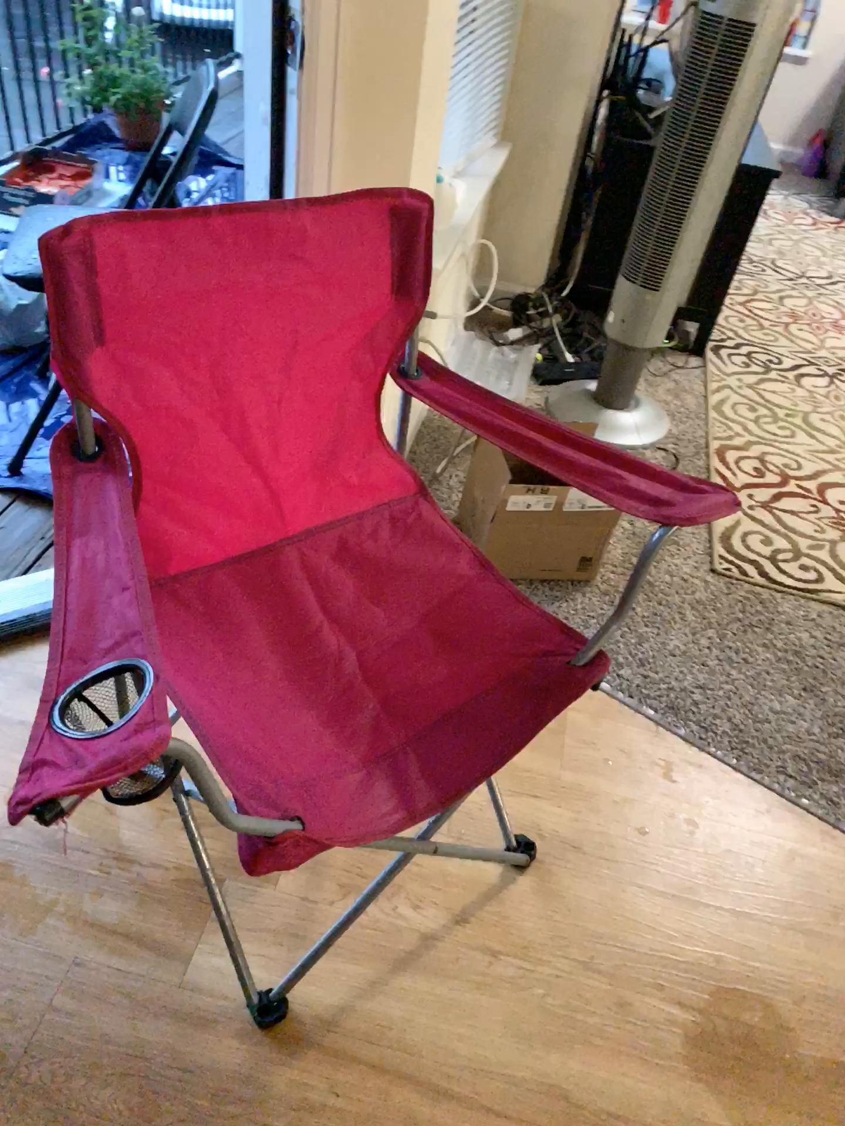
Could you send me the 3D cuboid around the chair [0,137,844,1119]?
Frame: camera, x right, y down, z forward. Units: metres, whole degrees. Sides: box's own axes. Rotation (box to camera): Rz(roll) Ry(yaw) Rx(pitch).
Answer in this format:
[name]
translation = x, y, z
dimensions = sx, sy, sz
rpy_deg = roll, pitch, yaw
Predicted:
[chair]
translation = -0.110, 0.017, 1.033
dimensions = 0.651, 0.776, 0.672
rpy_deg = -18, 47, -29
